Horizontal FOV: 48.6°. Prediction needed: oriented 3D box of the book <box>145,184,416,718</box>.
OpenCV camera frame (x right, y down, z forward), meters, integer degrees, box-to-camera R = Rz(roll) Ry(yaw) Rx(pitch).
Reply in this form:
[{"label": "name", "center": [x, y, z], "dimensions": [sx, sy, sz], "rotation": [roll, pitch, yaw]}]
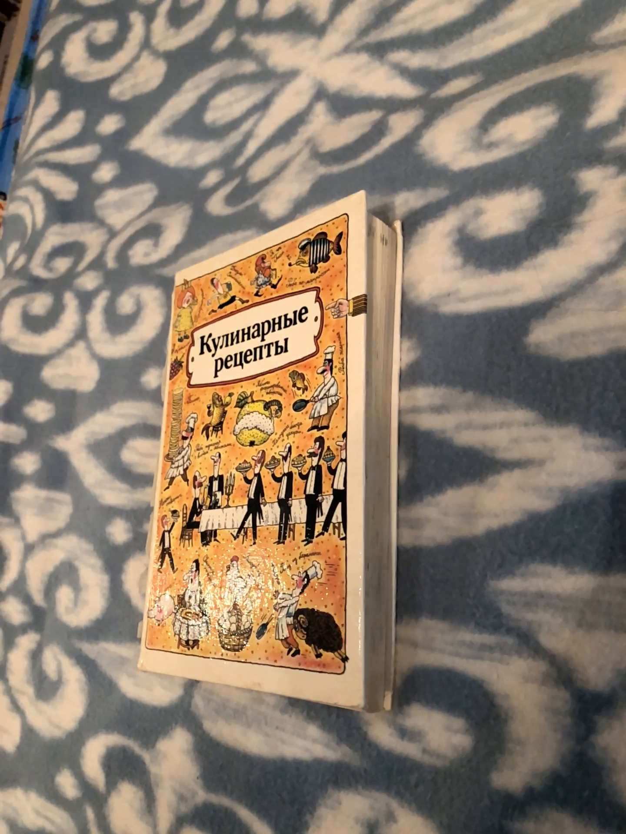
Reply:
[{"label": "book", "center": [-0.019, 0.017, 0.339], "dimensions": [0.142, 0.032, 0.220], "rotation": [-11, 71, 42]}]
